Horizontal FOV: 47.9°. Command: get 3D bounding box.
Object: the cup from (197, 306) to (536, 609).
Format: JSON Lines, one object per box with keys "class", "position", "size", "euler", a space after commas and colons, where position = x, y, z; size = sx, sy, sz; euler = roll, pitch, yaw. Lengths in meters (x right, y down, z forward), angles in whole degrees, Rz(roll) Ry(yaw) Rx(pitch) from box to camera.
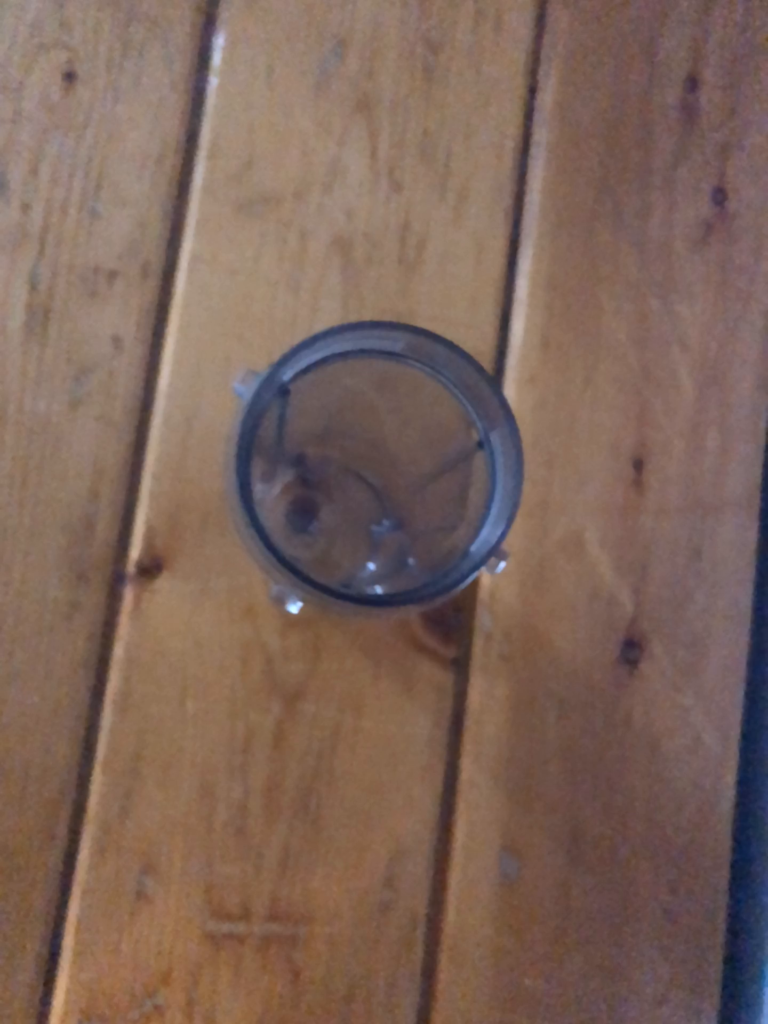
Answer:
{"class": "cup", "position": [-0.016, -0.005, 0.326], "size": [0.090, 0.190, 0.080], "euler": [0, 83, -7]}
